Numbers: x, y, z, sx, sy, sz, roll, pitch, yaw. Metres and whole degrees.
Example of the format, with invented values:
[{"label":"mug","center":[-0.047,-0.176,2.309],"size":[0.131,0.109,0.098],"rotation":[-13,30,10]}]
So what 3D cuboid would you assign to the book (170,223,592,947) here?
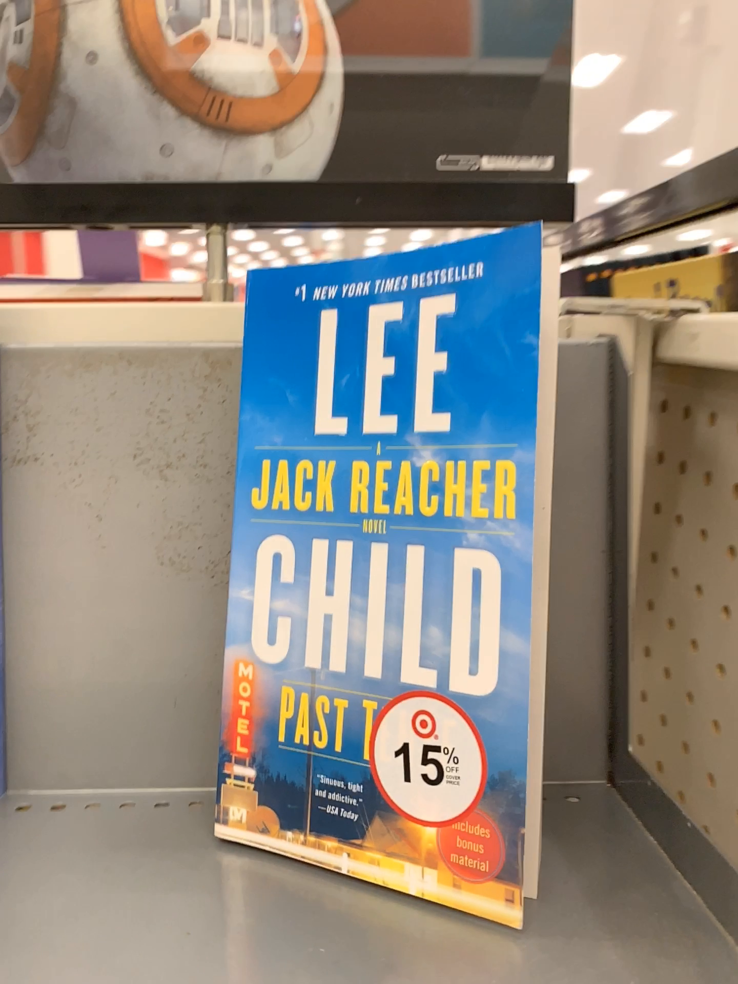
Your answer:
[{"label":"book","center":[0.011,0.022,0.261],"size":[0.110,0.197,0.080],"rotation":[3,-6,12]}]
